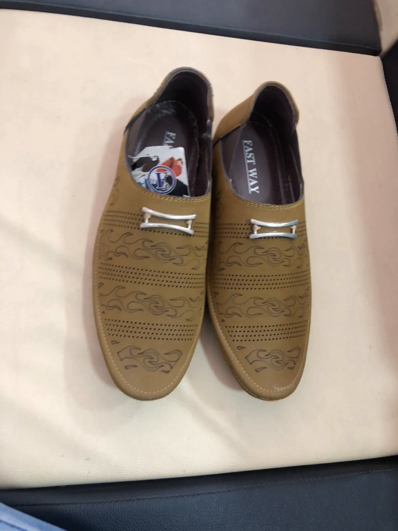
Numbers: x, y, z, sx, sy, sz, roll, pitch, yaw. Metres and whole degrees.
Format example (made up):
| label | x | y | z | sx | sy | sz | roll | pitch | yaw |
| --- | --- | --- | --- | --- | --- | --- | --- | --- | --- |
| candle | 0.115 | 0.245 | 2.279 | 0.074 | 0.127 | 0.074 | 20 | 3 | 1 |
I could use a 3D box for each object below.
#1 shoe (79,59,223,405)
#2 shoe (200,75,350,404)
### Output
| label | x | y | z | sx | sy | sz | roll | pitch | yaw |
| --- | --- | --- | --- | --- | --- | --- | --- | --- | --- |
| shoe | -0.038 | -0.025 | 0.393 | 0.100 | 0.100 | 0.280 | 3 | 74 | -8 |
| shoe | 0.060 | -0.020 | 0.412 | 0.100 | 0.100 | 0.280 | 3 | 74 | -8 |
